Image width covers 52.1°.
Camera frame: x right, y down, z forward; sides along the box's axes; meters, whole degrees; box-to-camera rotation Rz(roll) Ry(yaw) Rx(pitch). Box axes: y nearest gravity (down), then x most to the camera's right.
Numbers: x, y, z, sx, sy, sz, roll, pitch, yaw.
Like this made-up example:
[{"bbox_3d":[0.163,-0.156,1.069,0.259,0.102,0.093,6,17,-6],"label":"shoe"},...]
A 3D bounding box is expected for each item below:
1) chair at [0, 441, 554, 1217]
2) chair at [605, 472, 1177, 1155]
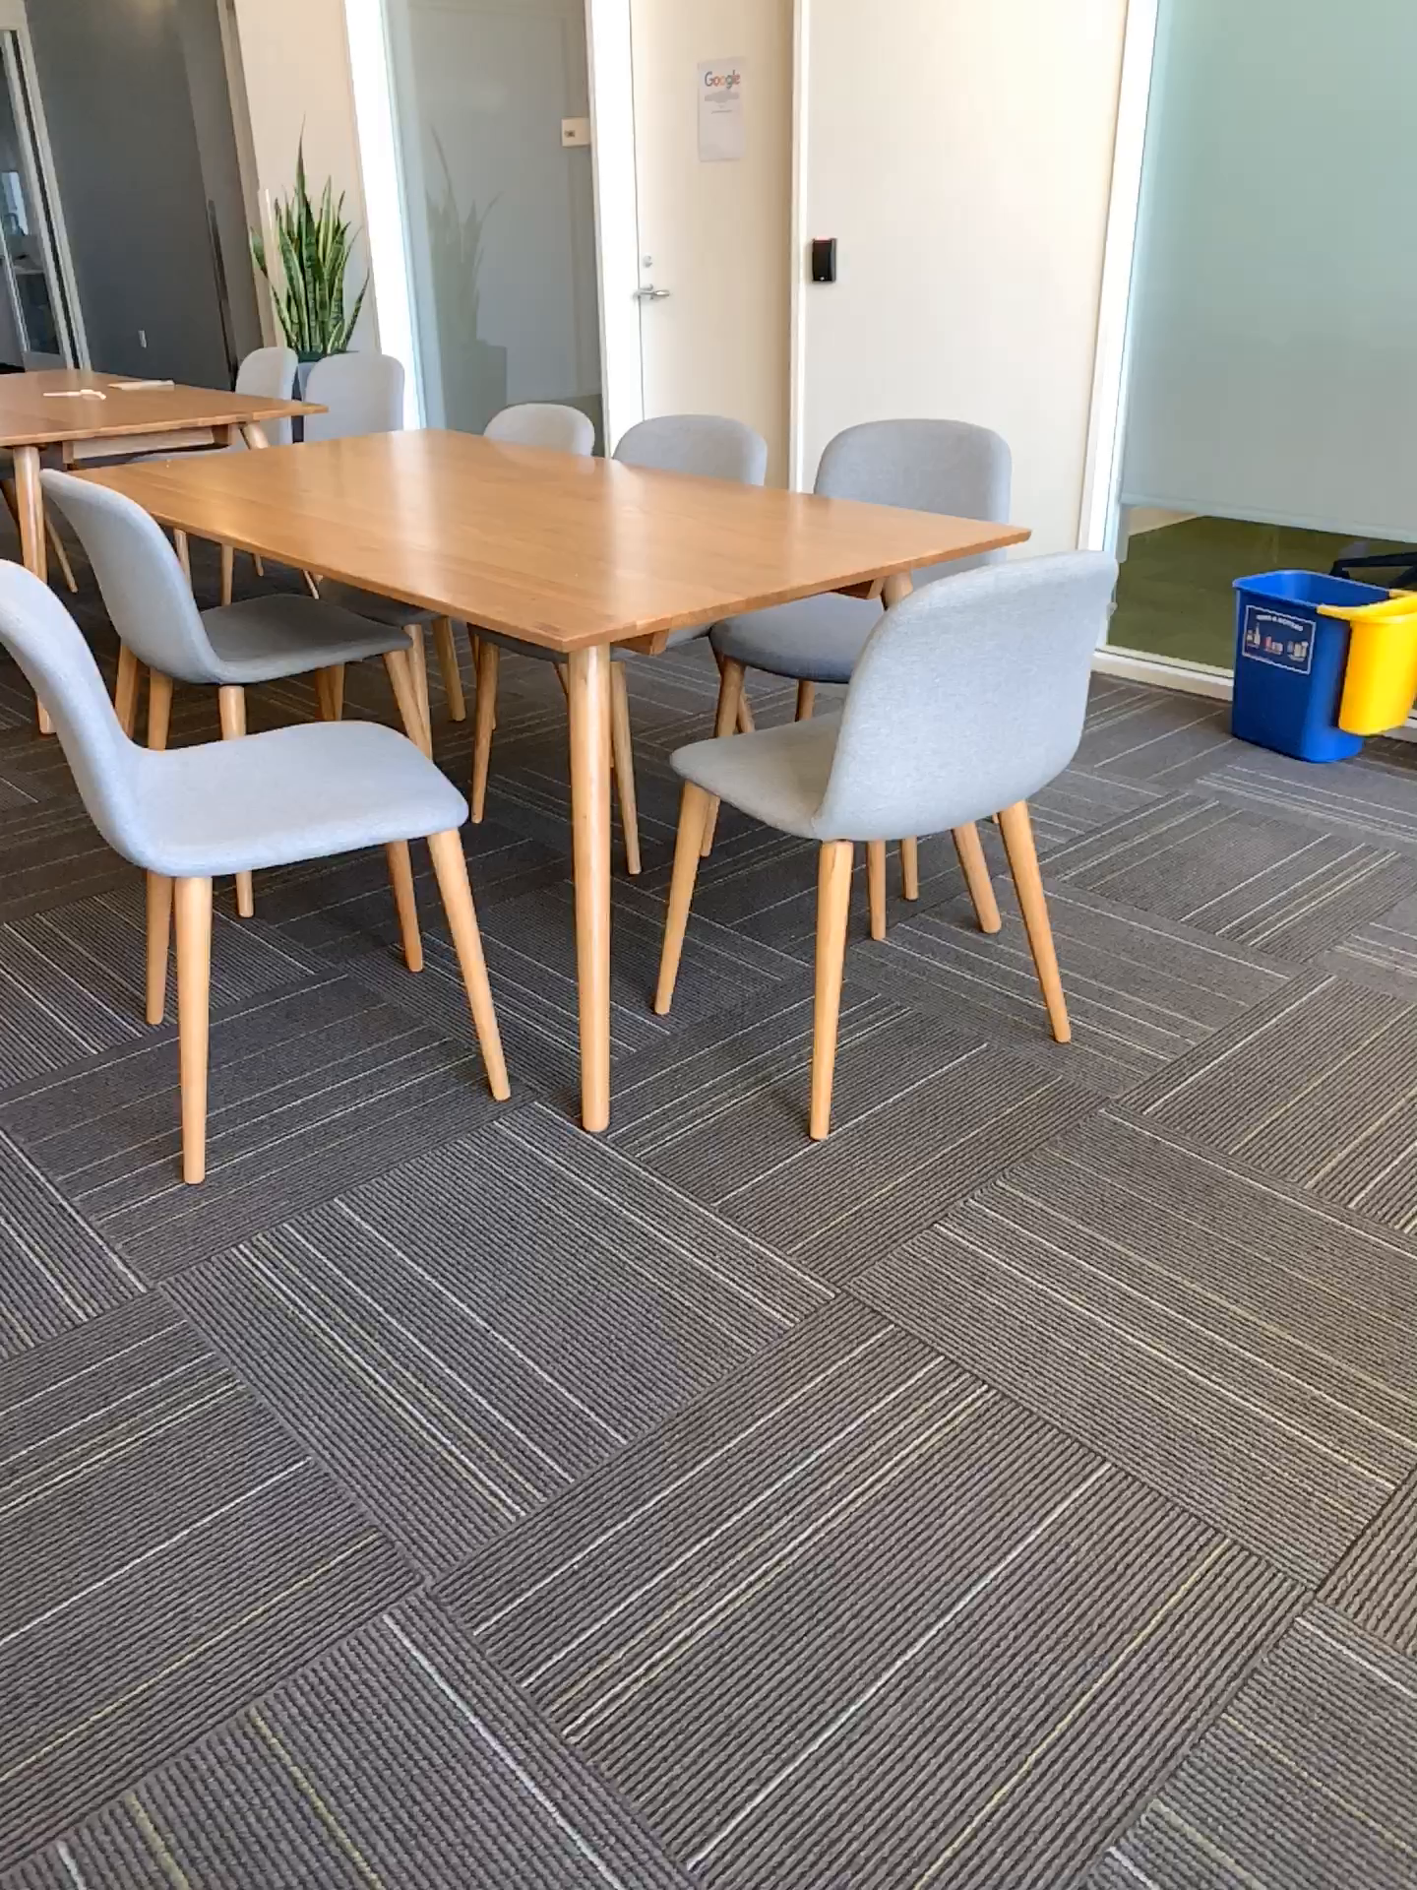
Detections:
[{"bbox_3d":[-0.679,-0.236,2.105,0.630,0.815,0.764,-13,29,-23],"label":"chair"},{"bbox_3d":[0.241,-0.234,2.138,0.560,0.775,0.533,-18,31,-30],"label":"chair"}]
